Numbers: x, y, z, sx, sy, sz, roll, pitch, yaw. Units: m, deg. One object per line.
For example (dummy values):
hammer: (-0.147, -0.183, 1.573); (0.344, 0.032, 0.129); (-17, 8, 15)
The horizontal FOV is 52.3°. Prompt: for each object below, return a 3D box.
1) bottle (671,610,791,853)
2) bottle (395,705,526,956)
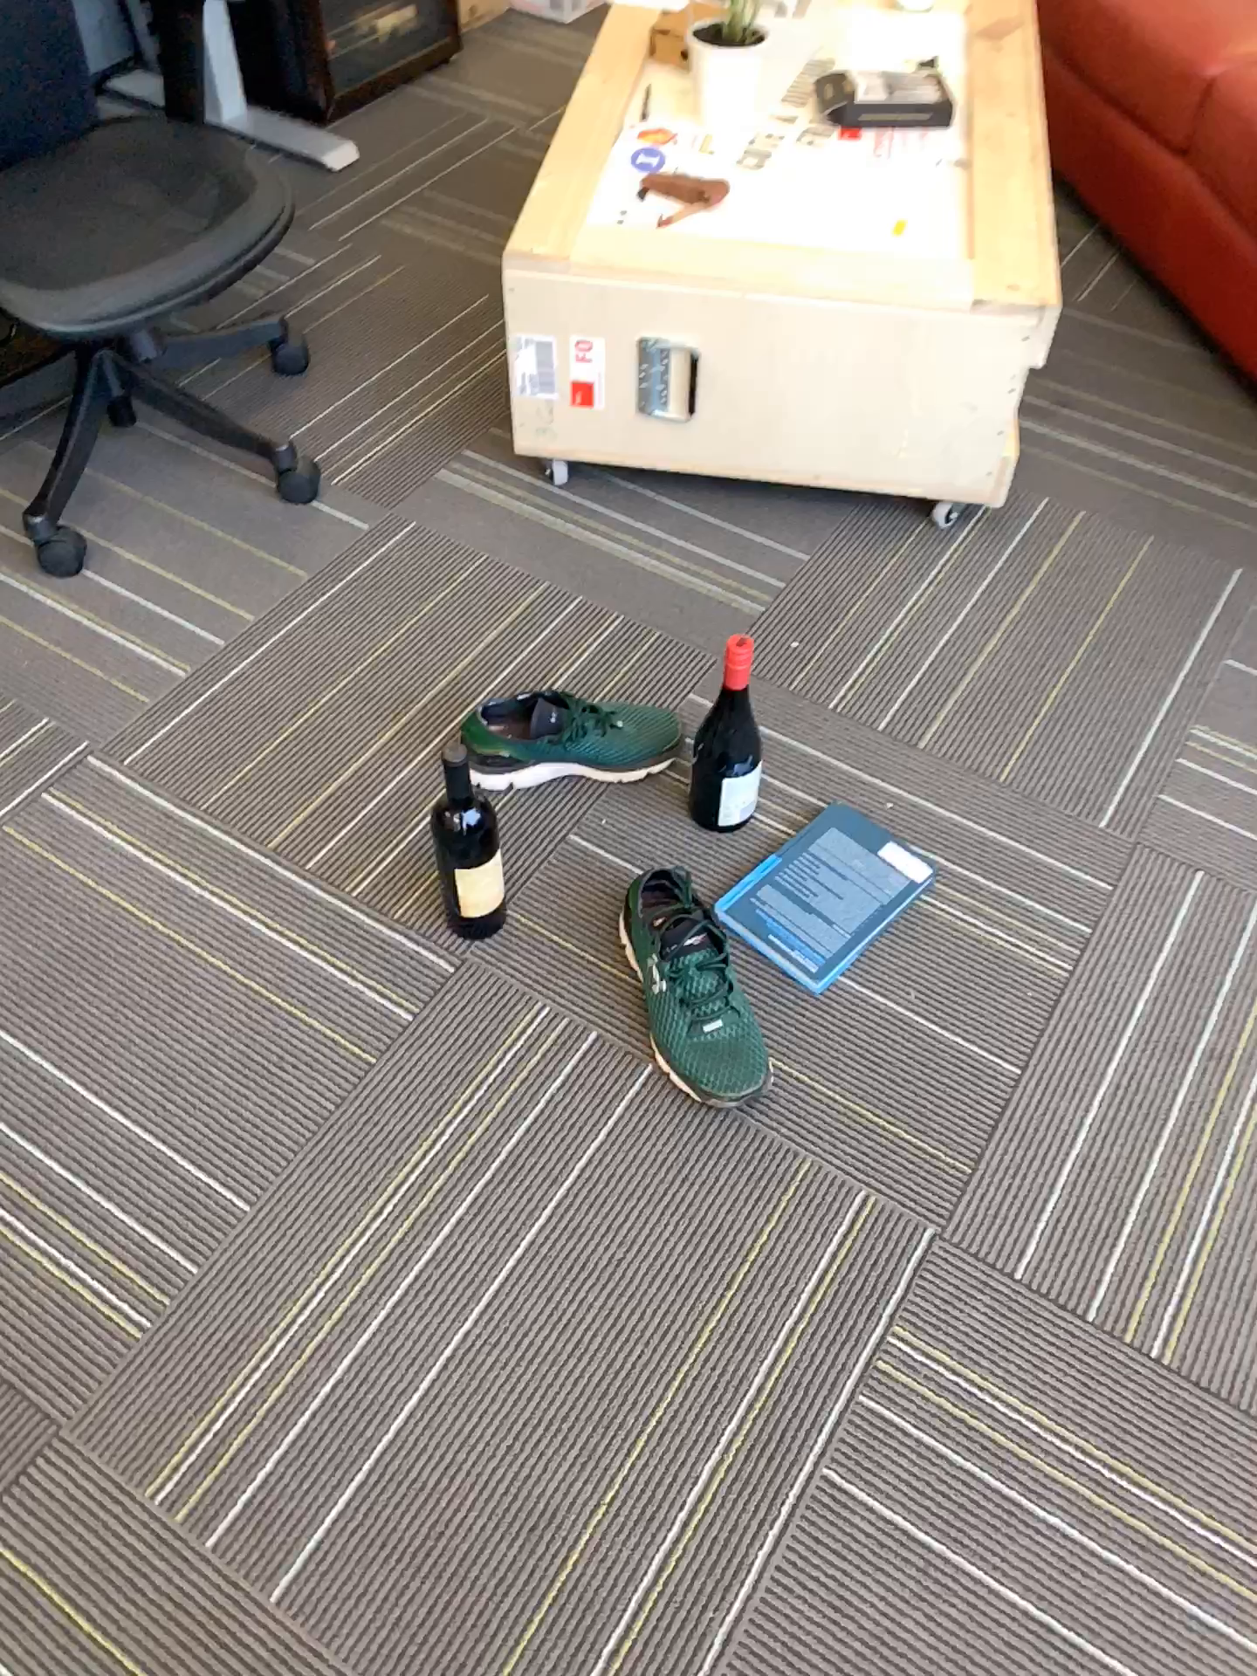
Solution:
bottle: (0.115, -0.118, 1.506); (0.080, 0.289, 0.090); (-38, 61, -26)
bottle: (-0.178, -0.001, 1.396); (0.080, 0.289, 0.090); (-30, 58, -22)
